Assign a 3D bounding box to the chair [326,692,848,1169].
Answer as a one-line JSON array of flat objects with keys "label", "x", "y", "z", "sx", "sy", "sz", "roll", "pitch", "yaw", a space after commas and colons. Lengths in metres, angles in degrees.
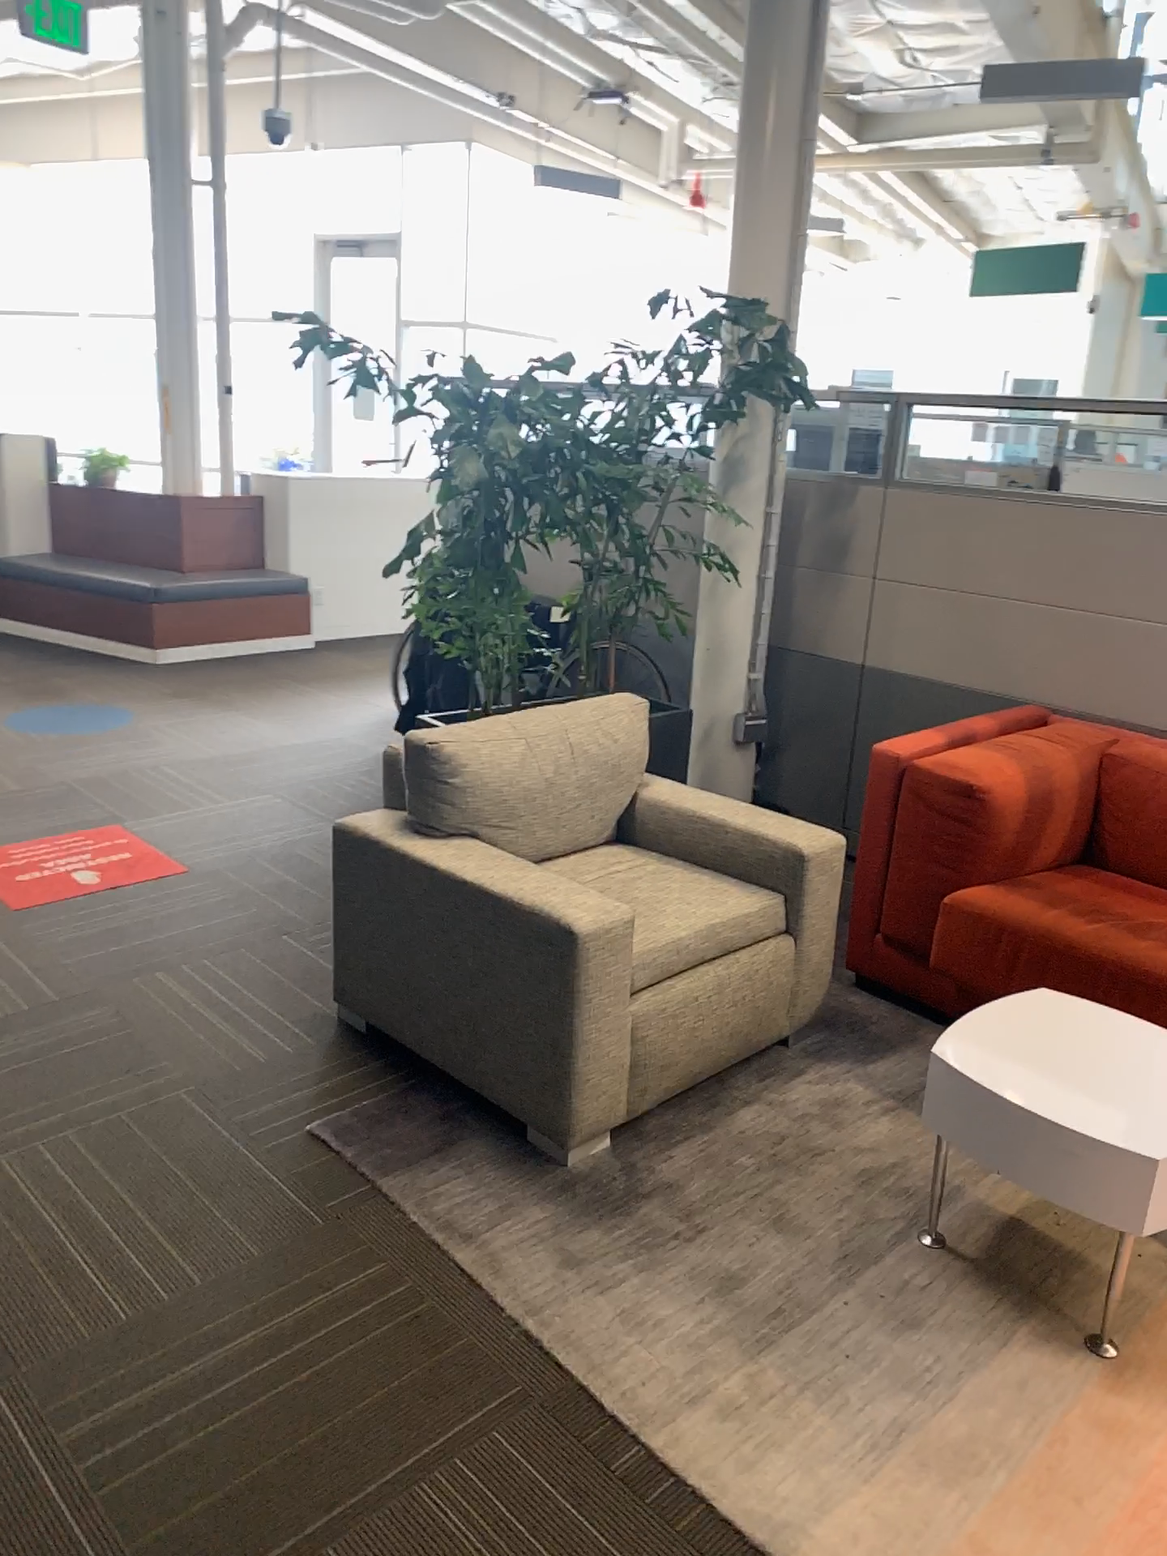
[{"label": "chair", "x": -0.006, "y": 0.281, "z": 2.982, "sx": 0.873, "sy": 0.727, "sz": 0.921, "roll": 19, "pitch": 22, "yaw": 42}]
